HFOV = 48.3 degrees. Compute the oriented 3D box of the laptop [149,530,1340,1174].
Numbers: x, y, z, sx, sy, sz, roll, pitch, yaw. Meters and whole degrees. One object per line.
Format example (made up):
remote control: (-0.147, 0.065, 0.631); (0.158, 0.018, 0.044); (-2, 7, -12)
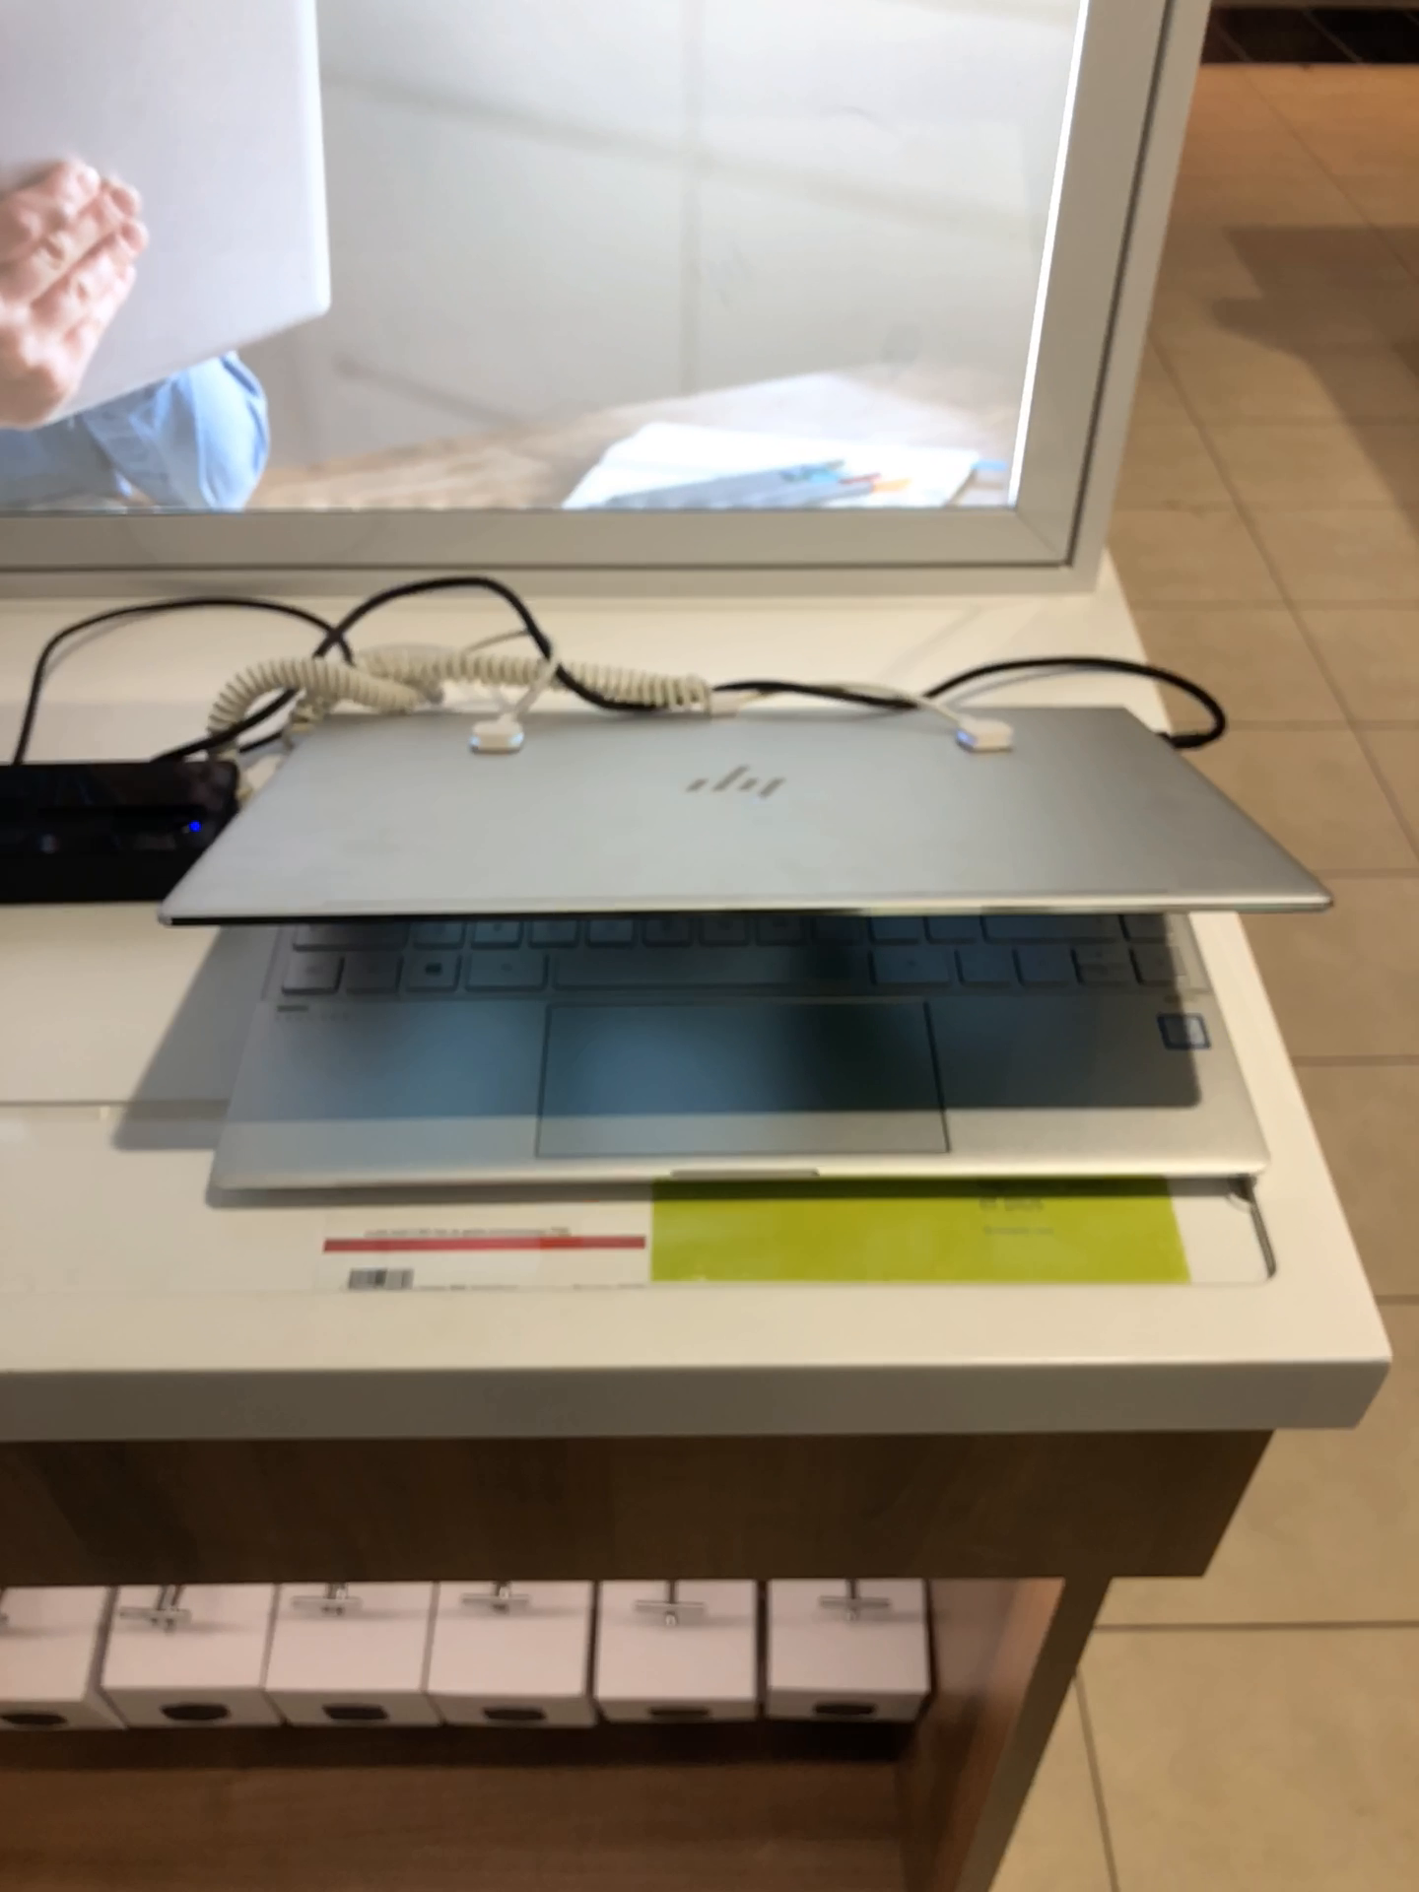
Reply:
laptop: (0.007, -0.039, 0.497); (0.298, 0.078, 0.212); (0, 45, -1)
